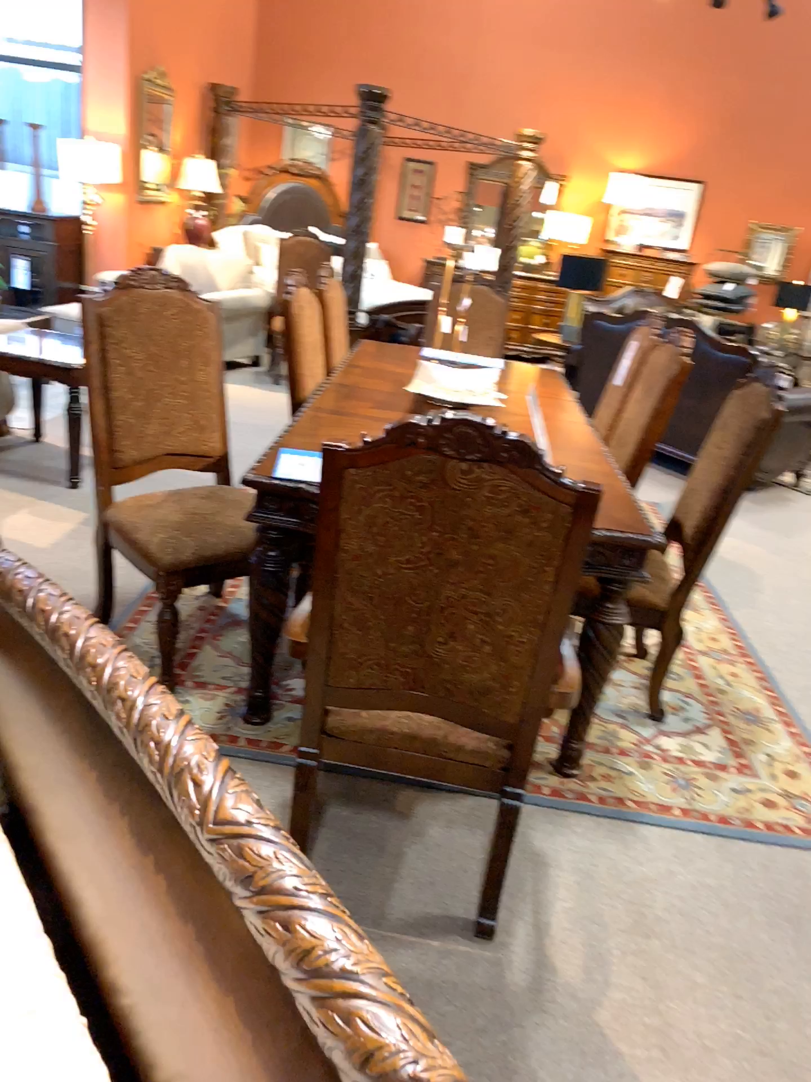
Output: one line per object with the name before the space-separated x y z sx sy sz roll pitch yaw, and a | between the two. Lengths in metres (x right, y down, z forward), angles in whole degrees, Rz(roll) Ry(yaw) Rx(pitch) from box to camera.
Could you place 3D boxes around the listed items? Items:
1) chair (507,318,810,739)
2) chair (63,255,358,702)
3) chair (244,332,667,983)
chair | 0.741 -0.060 2.652 0.619 1.134 0.566 10 21 4
chair | -0.665 -0.236 2.666 0.604 1.184 0.670 -11 29 -41
chair | 0.074 0.202 1.790 0.583 1.124 0.672 10 21 3
